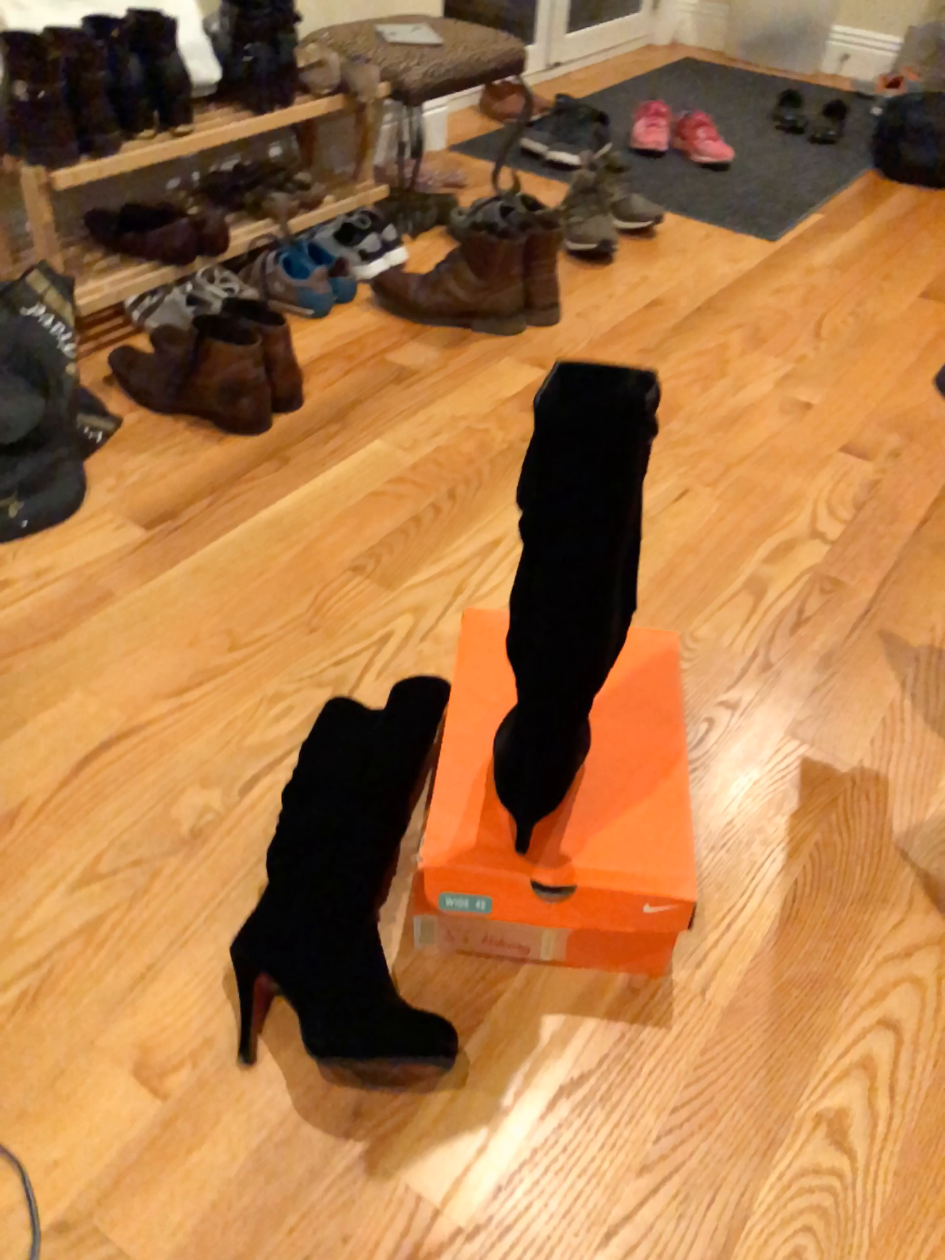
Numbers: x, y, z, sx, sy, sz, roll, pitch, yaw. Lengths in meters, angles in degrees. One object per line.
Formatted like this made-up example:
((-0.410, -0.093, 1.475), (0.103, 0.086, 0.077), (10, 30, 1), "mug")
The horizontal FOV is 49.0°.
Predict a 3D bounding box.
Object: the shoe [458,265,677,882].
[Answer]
((0.065, -0.029, 0.769), (0.089, 0.397, 0.217), (10, 41, 5), "shoe")

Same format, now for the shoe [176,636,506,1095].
((-0.089, 0.178, 0.907), (0.206, 0.089, 0.401), (5, 40, 3), "shoe")
